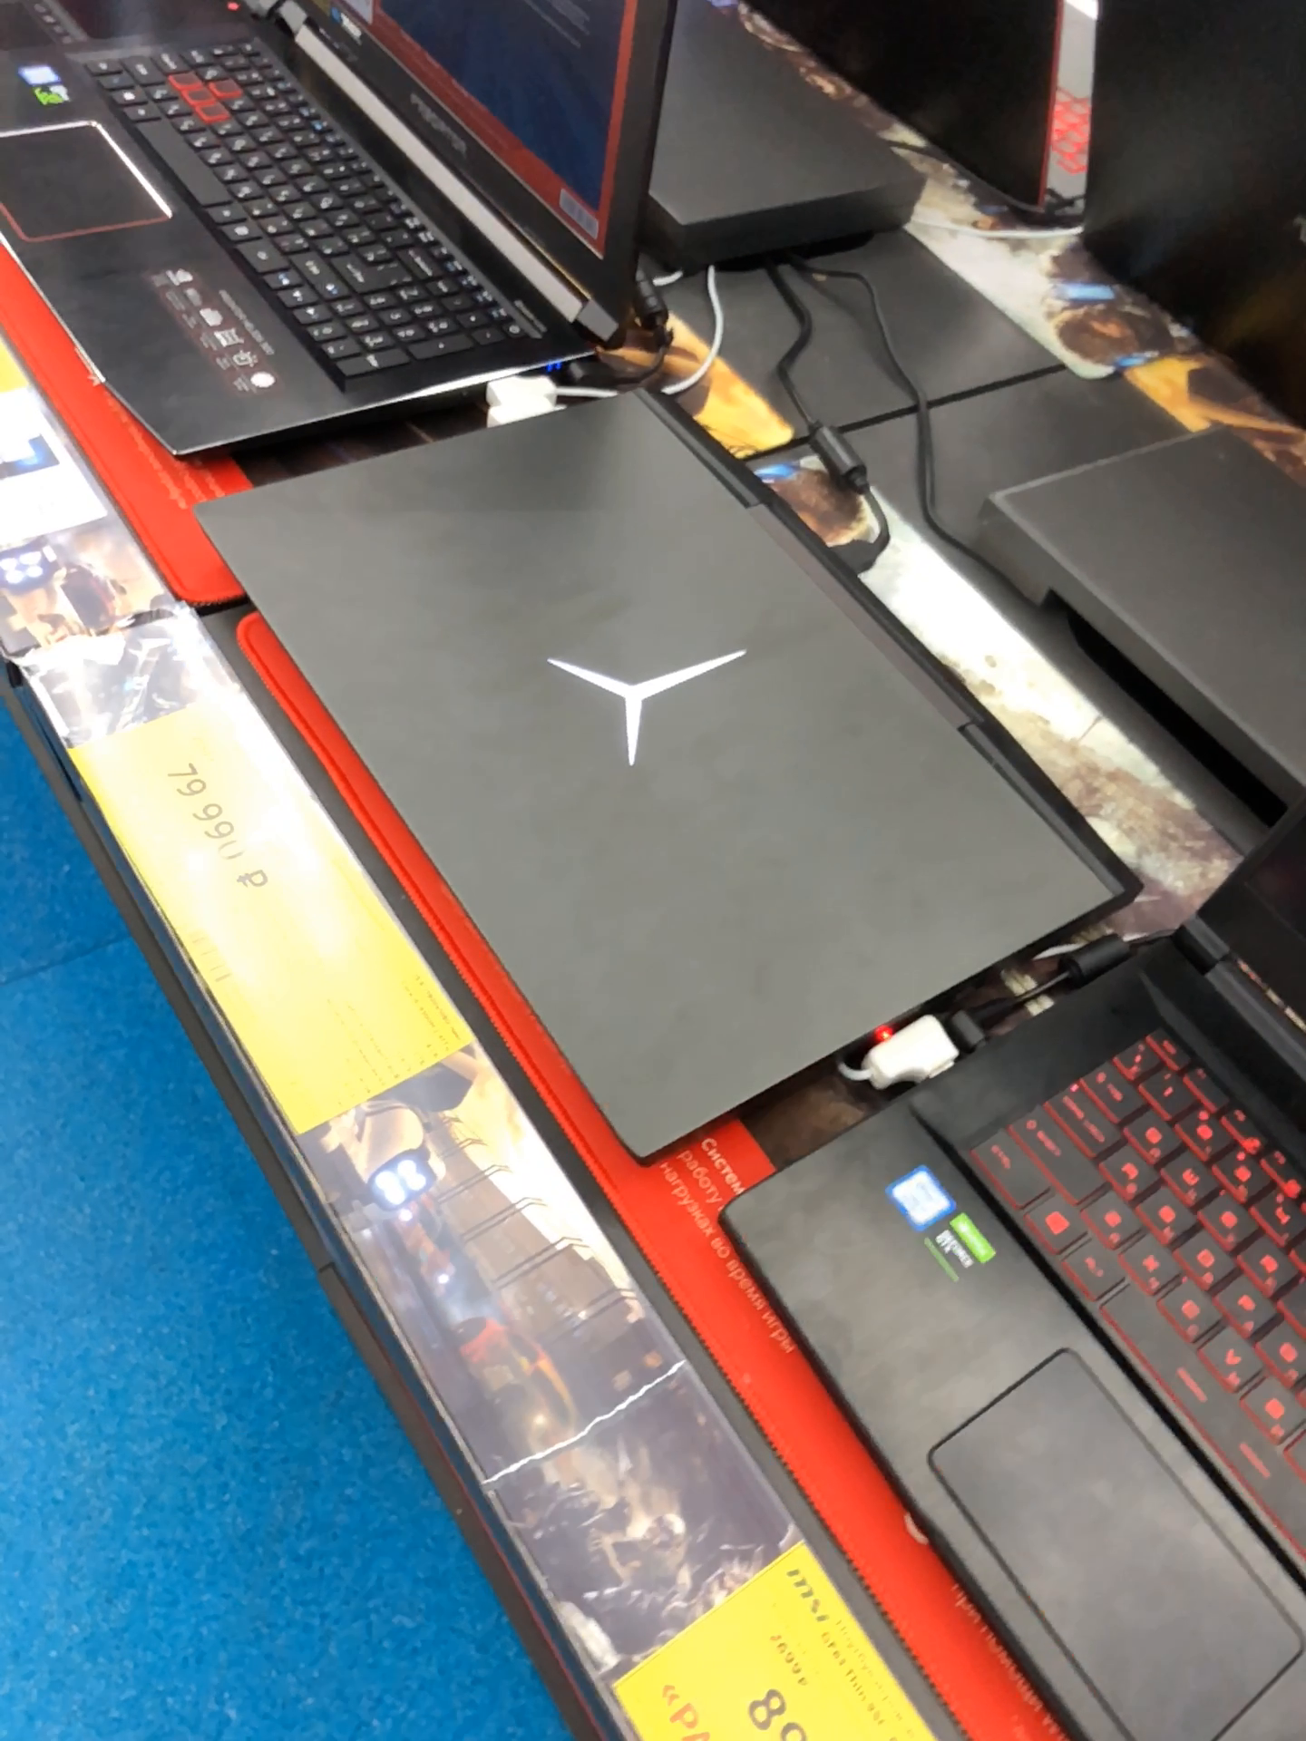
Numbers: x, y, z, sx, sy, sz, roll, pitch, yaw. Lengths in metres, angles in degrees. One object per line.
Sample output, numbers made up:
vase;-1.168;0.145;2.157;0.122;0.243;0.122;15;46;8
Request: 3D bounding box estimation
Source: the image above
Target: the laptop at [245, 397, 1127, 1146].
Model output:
laptop;0.006;-0.074;0.614;0.227;0.007;0.344;-24;61;-26
